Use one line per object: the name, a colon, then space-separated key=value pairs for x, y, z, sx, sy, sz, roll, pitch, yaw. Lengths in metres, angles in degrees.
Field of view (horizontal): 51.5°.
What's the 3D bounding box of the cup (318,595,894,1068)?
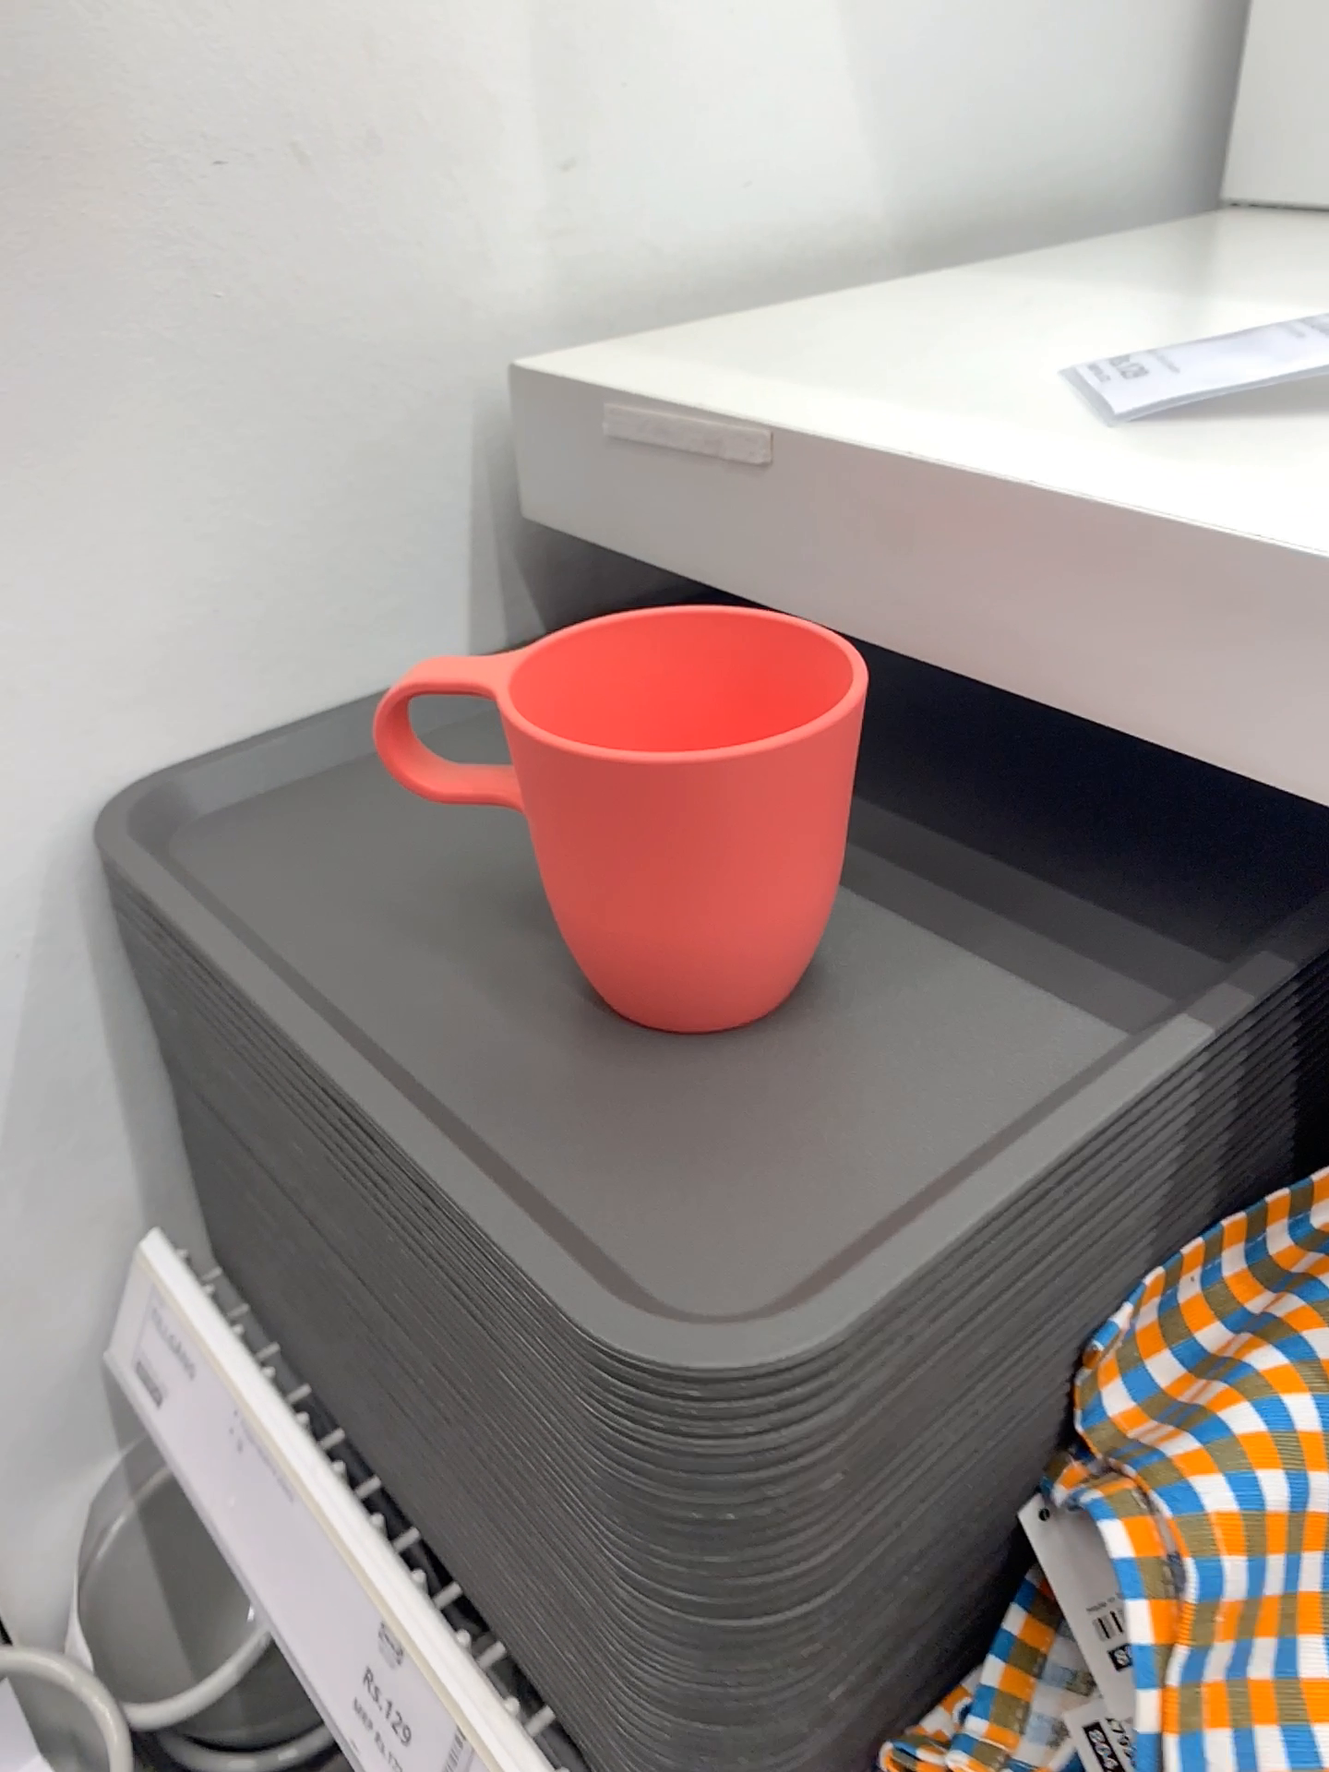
cup: x=-0.007 y=-0.015 z=0.311 sx=0.110 sy=0.080 sz=0.070 roll=2 pitch=32 yaw=7
